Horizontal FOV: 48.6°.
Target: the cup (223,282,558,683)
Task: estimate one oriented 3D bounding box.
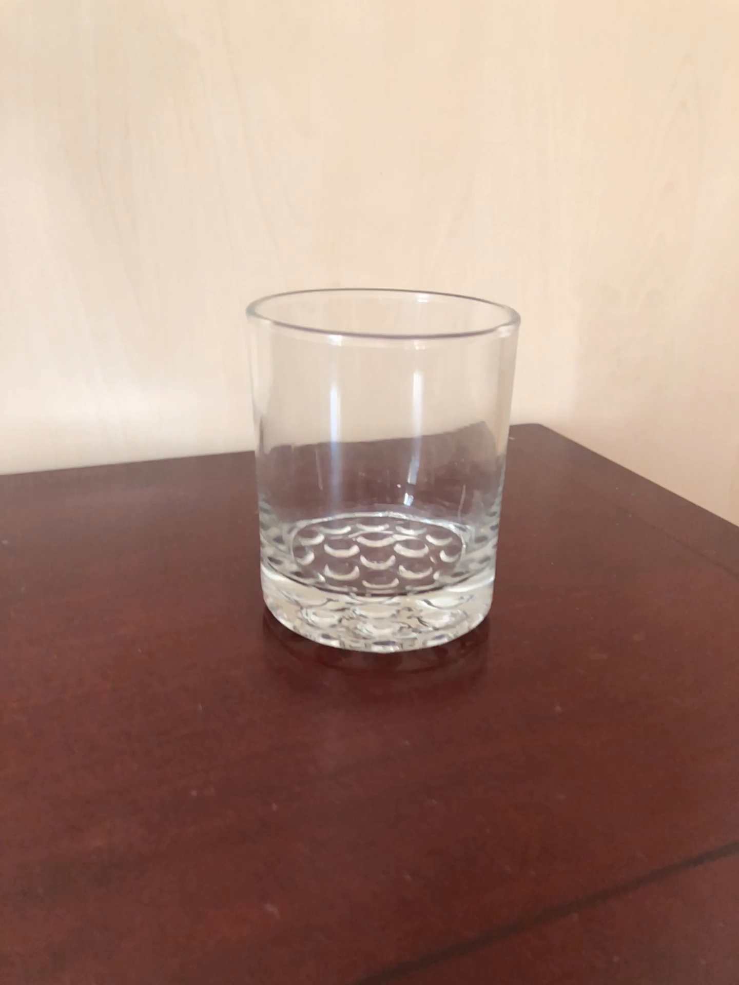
[{"bbox_3d":[-0.001,-0.010,0.252,0.081,0.097,0.082,1,21,0],"label":"cup"}]
